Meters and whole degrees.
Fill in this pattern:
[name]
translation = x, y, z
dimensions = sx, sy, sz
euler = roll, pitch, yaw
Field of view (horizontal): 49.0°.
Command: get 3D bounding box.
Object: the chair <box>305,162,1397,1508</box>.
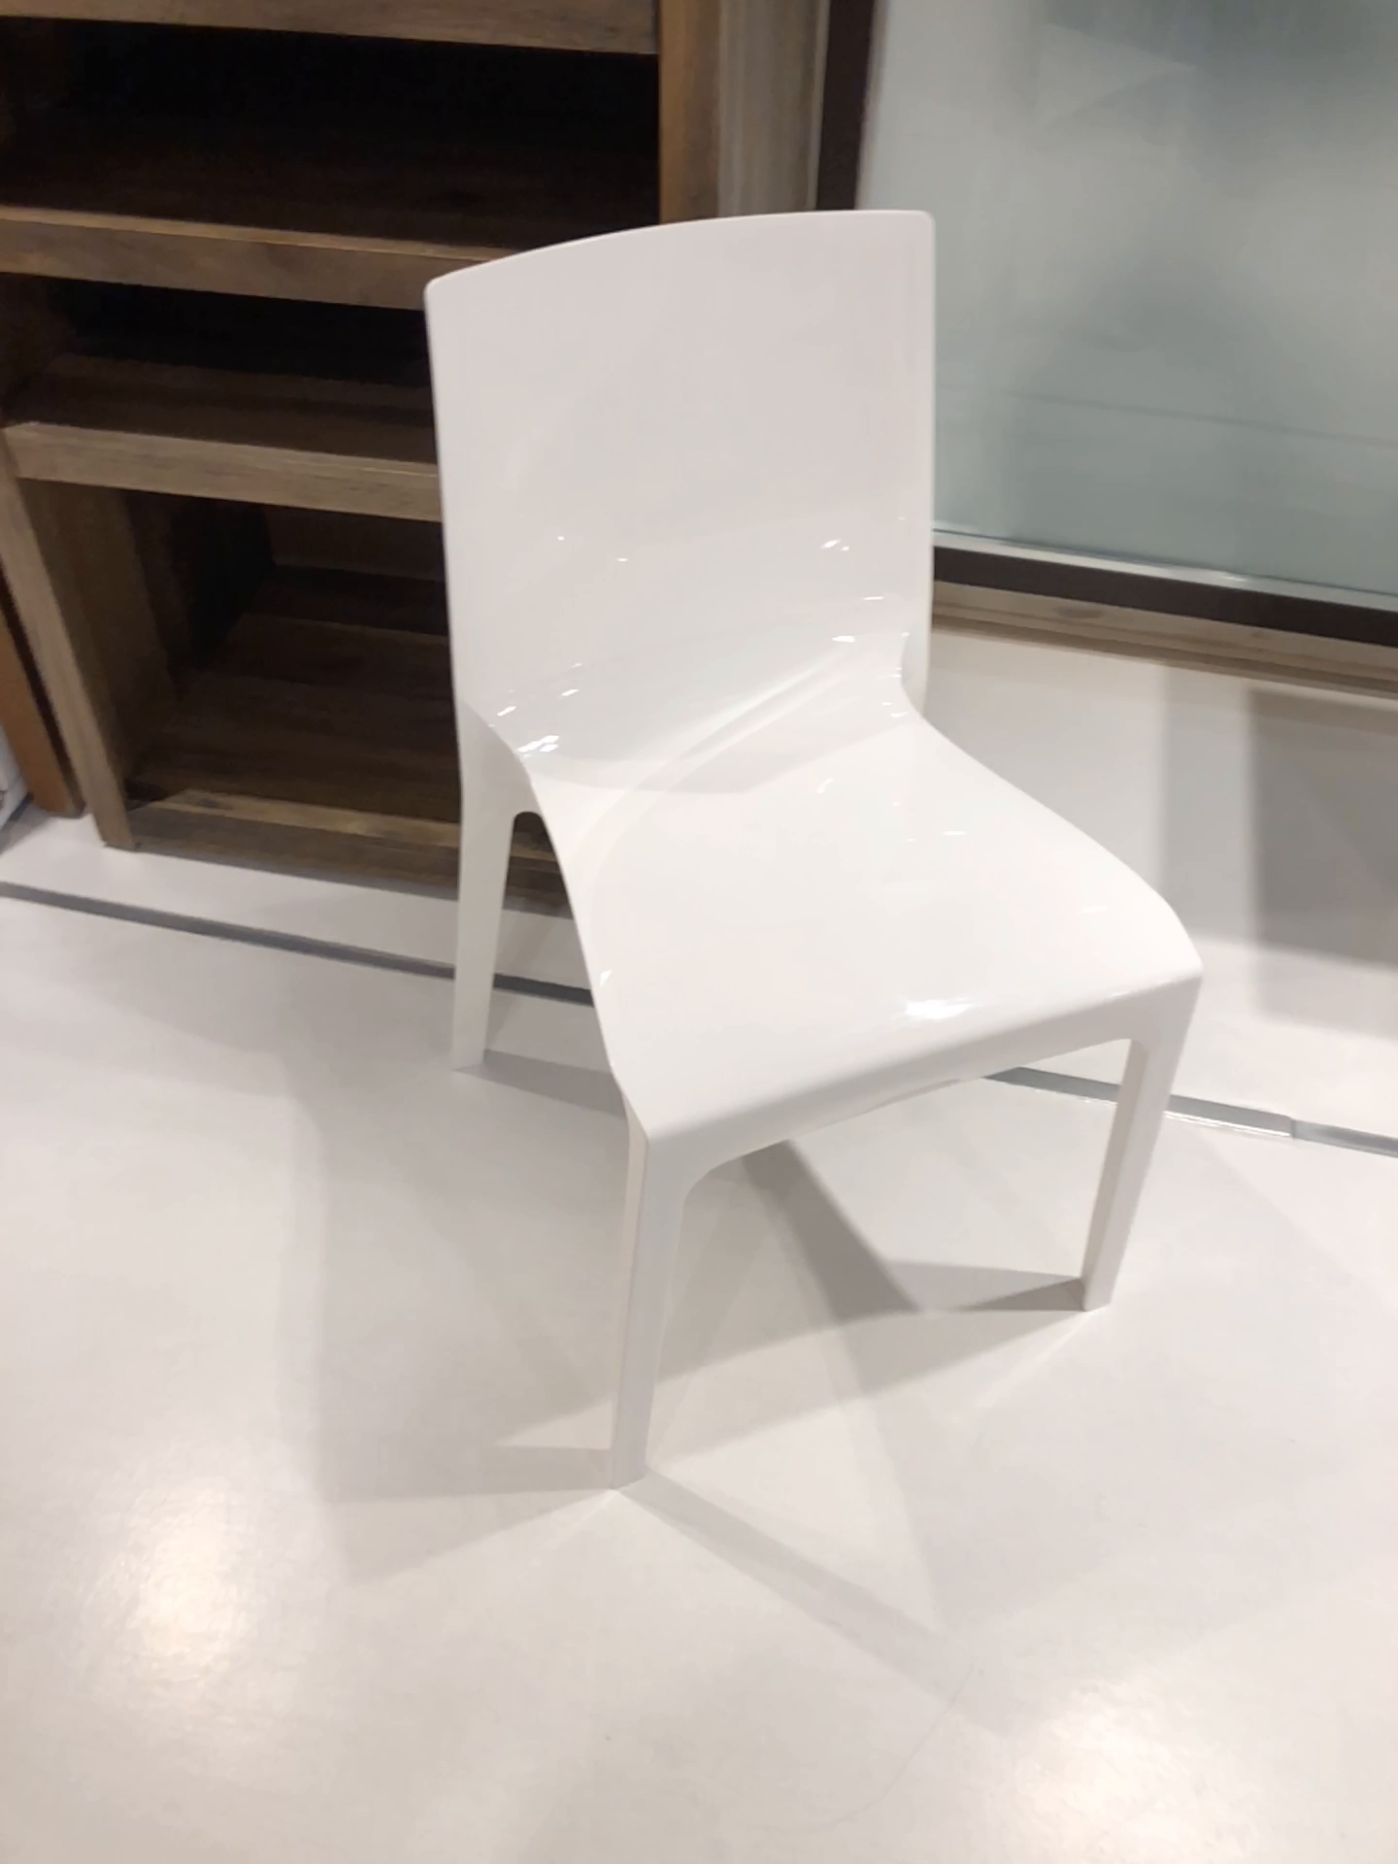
[chair]
translation = 0.062, -0.060, 1.148
dimensions = 0.481, 0.755, 0.523
euler = -16, 48, -17
